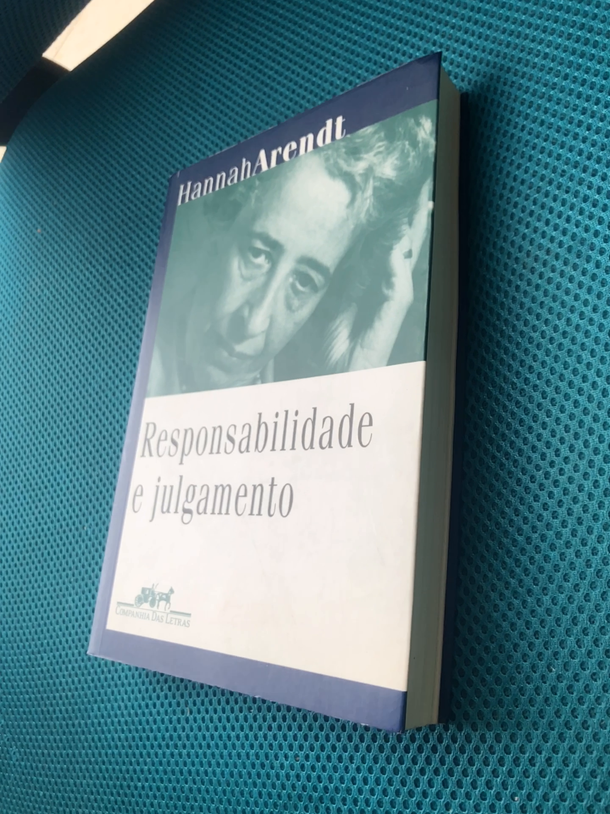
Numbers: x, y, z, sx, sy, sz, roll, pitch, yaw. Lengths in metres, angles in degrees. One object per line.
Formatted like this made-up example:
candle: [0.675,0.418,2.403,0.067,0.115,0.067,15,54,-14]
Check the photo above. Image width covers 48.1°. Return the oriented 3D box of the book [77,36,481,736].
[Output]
book: [-0.012,-0.009,0.254,0.142,0.034,0.209,-6,72,40]
